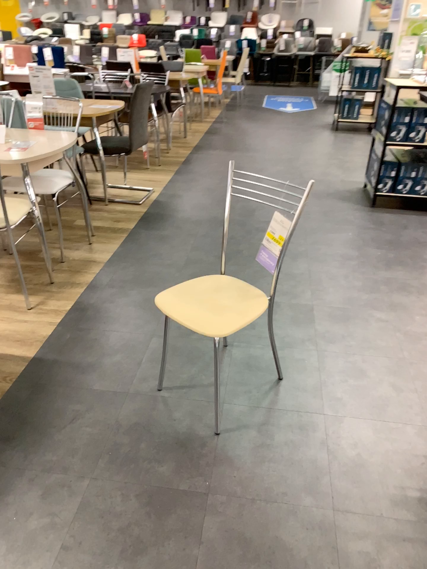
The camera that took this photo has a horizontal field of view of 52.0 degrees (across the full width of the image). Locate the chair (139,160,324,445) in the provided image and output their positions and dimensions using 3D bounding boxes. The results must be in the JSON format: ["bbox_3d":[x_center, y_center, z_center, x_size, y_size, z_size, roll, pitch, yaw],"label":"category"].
[{"bbox_3d":[0.059,0.053,1.698,0.411,0.905,0.482,26,38,36],"label":"chair"}]
